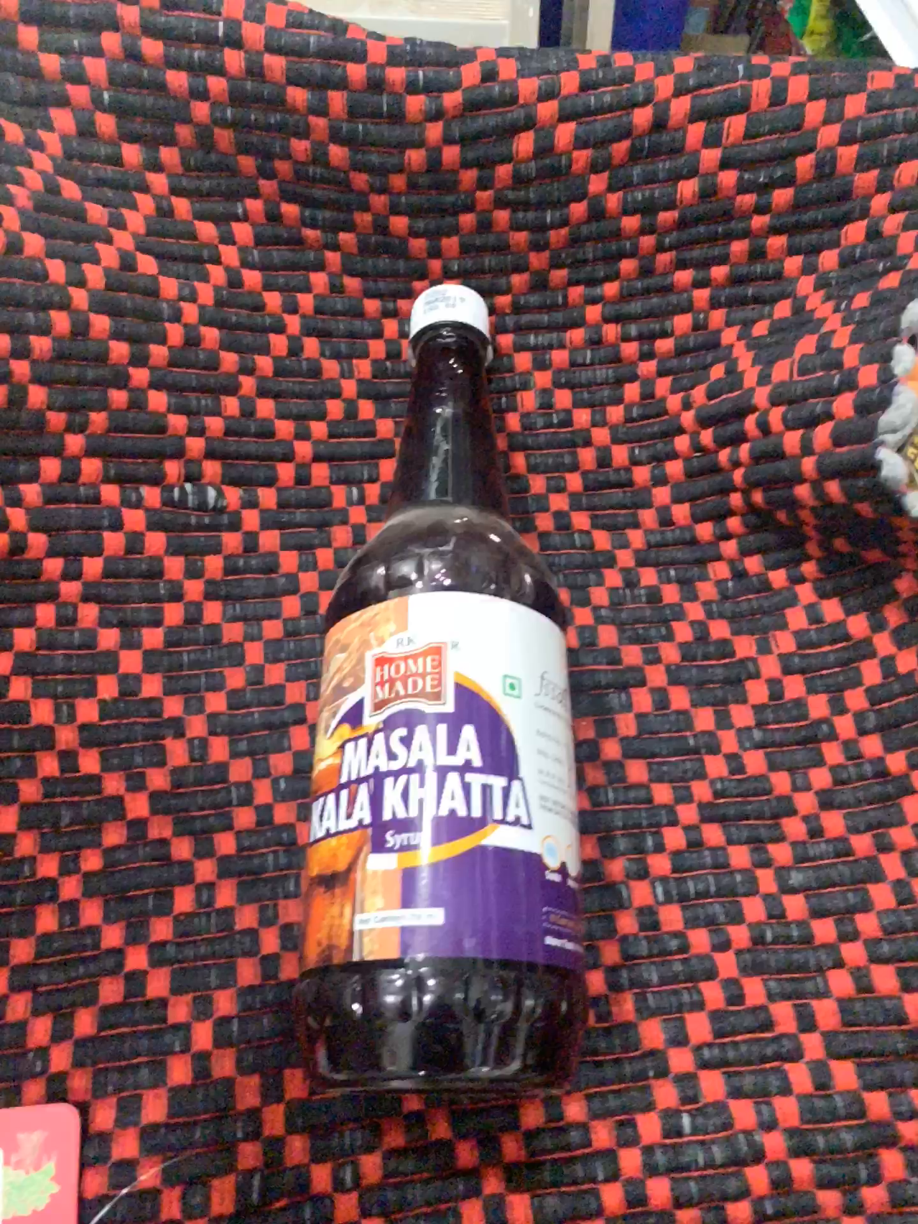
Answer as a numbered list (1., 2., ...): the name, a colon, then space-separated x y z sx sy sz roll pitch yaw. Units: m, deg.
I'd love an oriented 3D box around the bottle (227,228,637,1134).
1. bottle: -0.005 0.006 0.285 0.080 0.080 0.260 -3 59 3
